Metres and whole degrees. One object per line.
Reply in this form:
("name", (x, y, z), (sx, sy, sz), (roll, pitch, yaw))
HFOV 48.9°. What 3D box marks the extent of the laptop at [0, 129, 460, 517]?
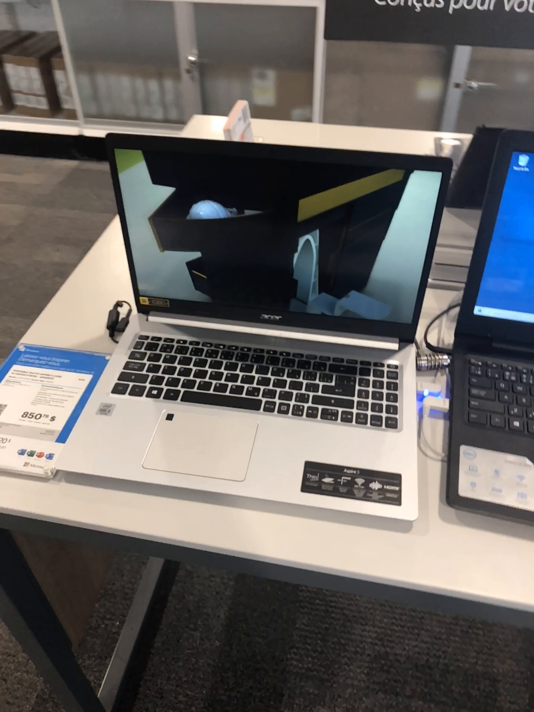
("laptop", (-0.018, -0.048, 0.588), (0.349, 0.229, 0.268), (6, 44, 9))
